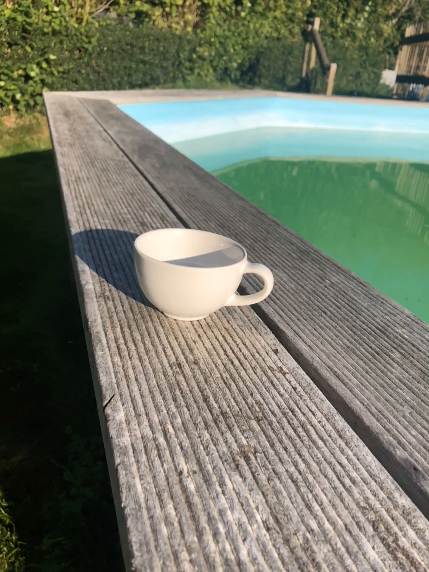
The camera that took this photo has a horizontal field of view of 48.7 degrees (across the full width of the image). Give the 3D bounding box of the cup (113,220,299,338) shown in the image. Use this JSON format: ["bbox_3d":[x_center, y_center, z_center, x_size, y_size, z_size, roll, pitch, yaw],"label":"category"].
[{"bbox_3d":[-0.001,-0.012,0.375,0.120,0.038,0.105,10,25,12],"label":"cup"}]
